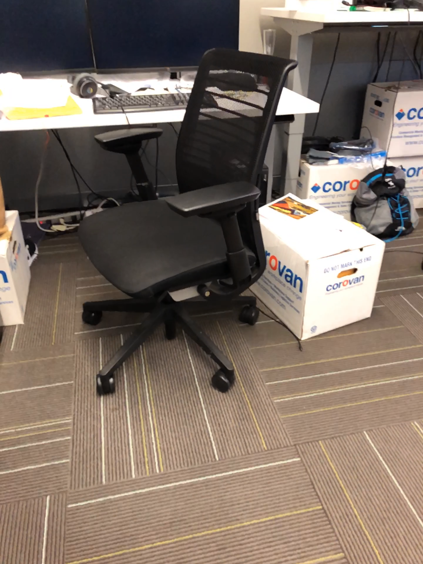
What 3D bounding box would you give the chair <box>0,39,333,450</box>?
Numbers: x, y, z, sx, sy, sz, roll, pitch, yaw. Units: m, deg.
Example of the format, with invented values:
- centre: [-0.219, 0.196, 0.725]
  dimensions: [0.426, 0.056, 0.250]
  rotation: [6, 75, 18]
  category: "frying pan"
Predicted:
- centre: [-0.196, -0.203, 1.529]
  dimensions: [0.701, 0.994, 0.783]
  rotation: [-18, 36, -26]
  category: "chair"
